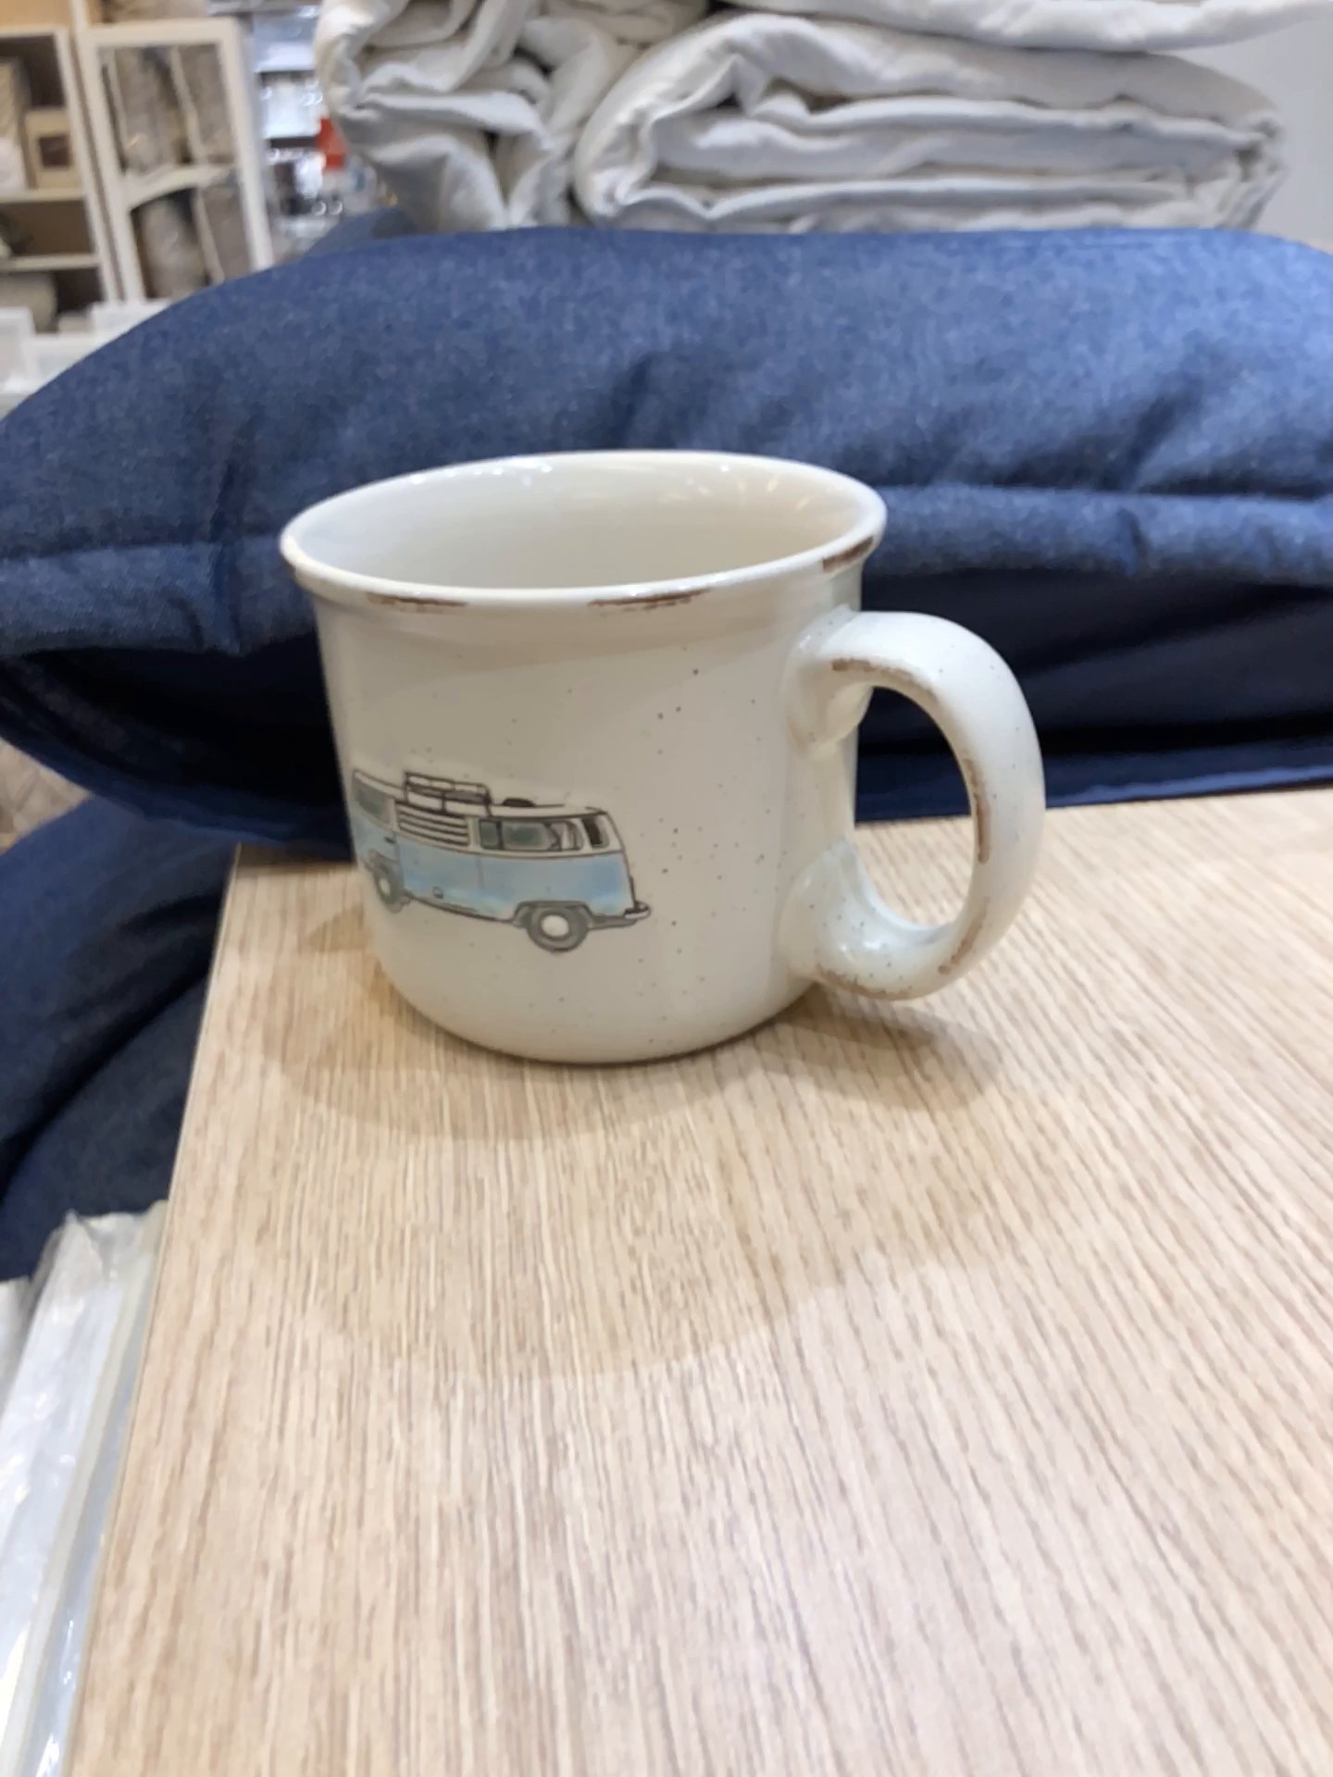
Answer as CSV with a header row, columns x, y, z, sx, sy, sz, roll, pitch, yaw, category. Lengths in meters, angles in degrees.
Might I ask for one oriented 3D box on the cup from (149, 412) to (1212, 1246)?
x,y,z,sx,sy,sz,roll,pitch,yaw,category
0.005,-0.025,0.261,0.140,0.089,0.101,14,31,30,cup
